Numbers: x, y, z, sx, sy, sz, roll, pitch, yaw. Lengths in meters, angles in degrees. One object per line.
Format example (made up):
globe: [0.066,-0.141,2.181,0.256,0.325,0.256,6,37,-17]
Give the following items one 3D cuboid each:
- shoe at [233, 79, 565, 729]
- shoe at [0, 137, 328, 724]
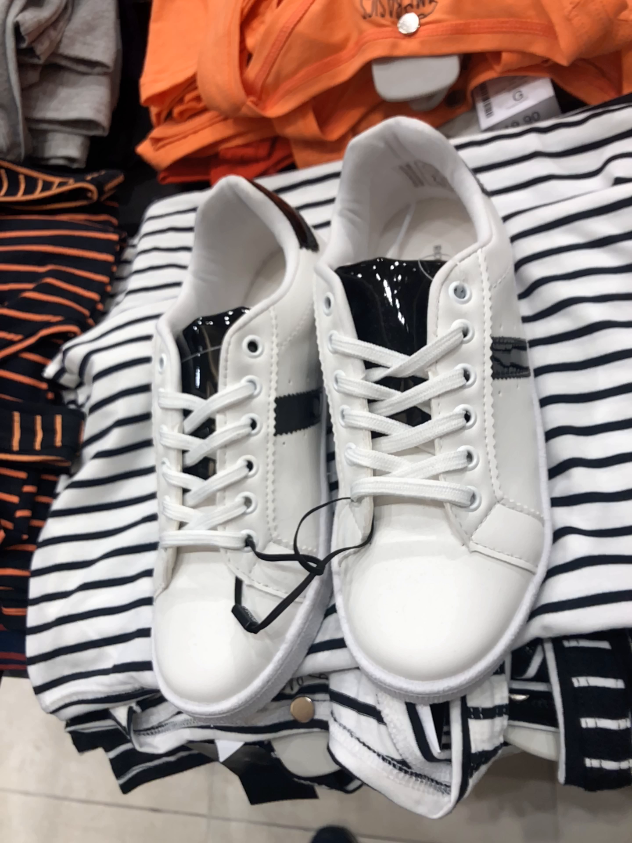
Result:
shoe: [0.034,-0.005,0.262,0.090,0.080,0.210,-5,69,18]
shoe: [-0.051,0.004,0.288,0.080,0.080,0.210,-3,70,19]
